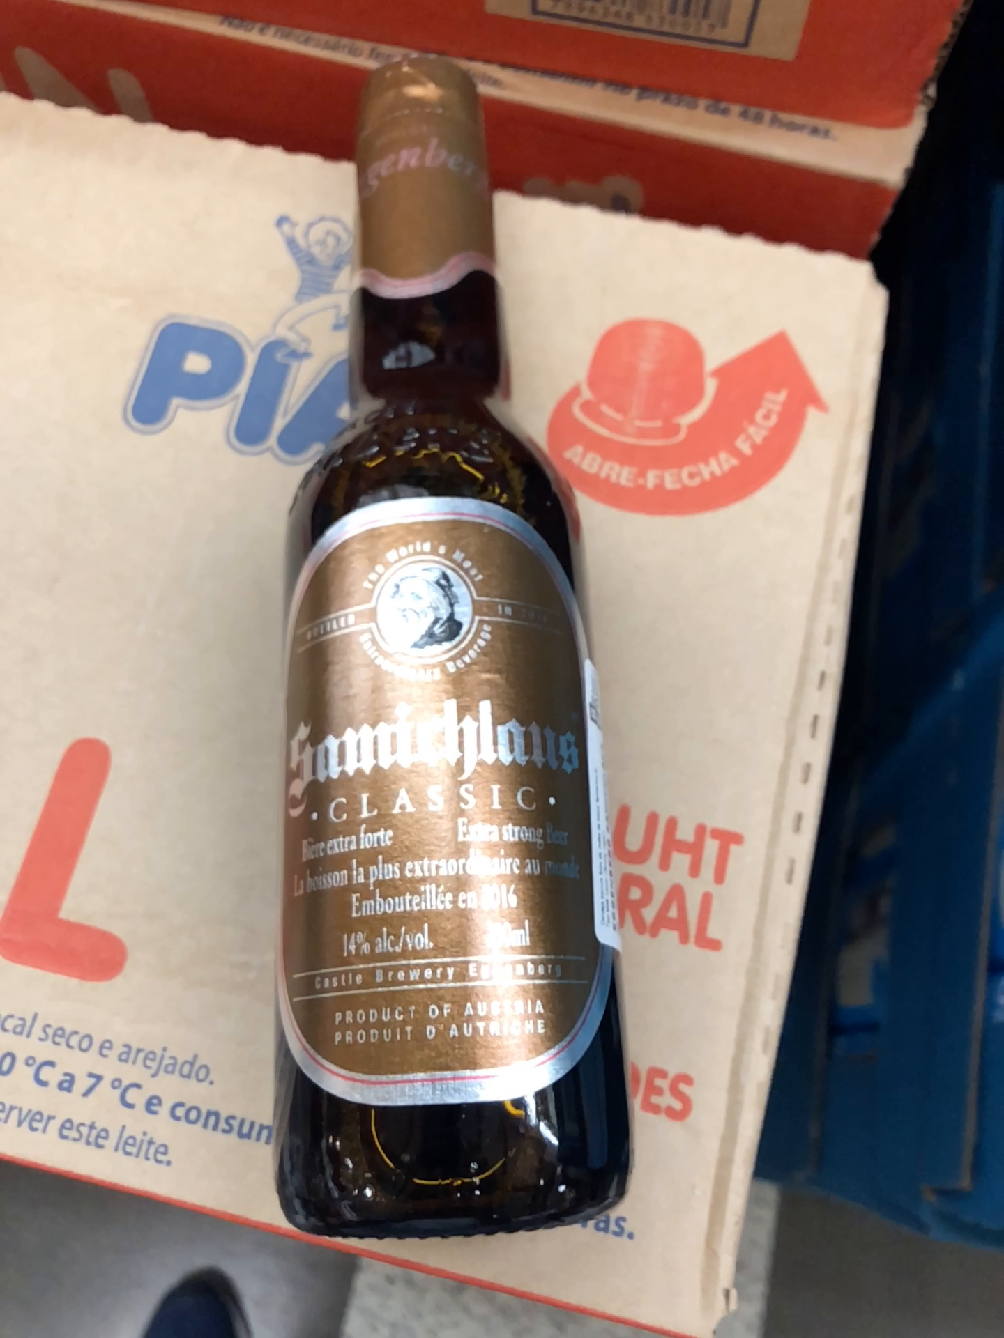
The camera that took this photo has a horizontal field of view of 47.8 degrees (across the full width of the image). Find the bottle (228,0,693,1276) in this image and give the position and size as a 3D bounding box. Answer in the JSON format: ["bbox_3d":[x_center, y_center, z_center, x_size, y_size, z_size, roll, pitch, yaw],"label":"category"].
[{"bbox_3d":[-0.013,-0.034,0.211,0.060,0.050,0.251,-3,71,-2],"label":"bottle"}]
